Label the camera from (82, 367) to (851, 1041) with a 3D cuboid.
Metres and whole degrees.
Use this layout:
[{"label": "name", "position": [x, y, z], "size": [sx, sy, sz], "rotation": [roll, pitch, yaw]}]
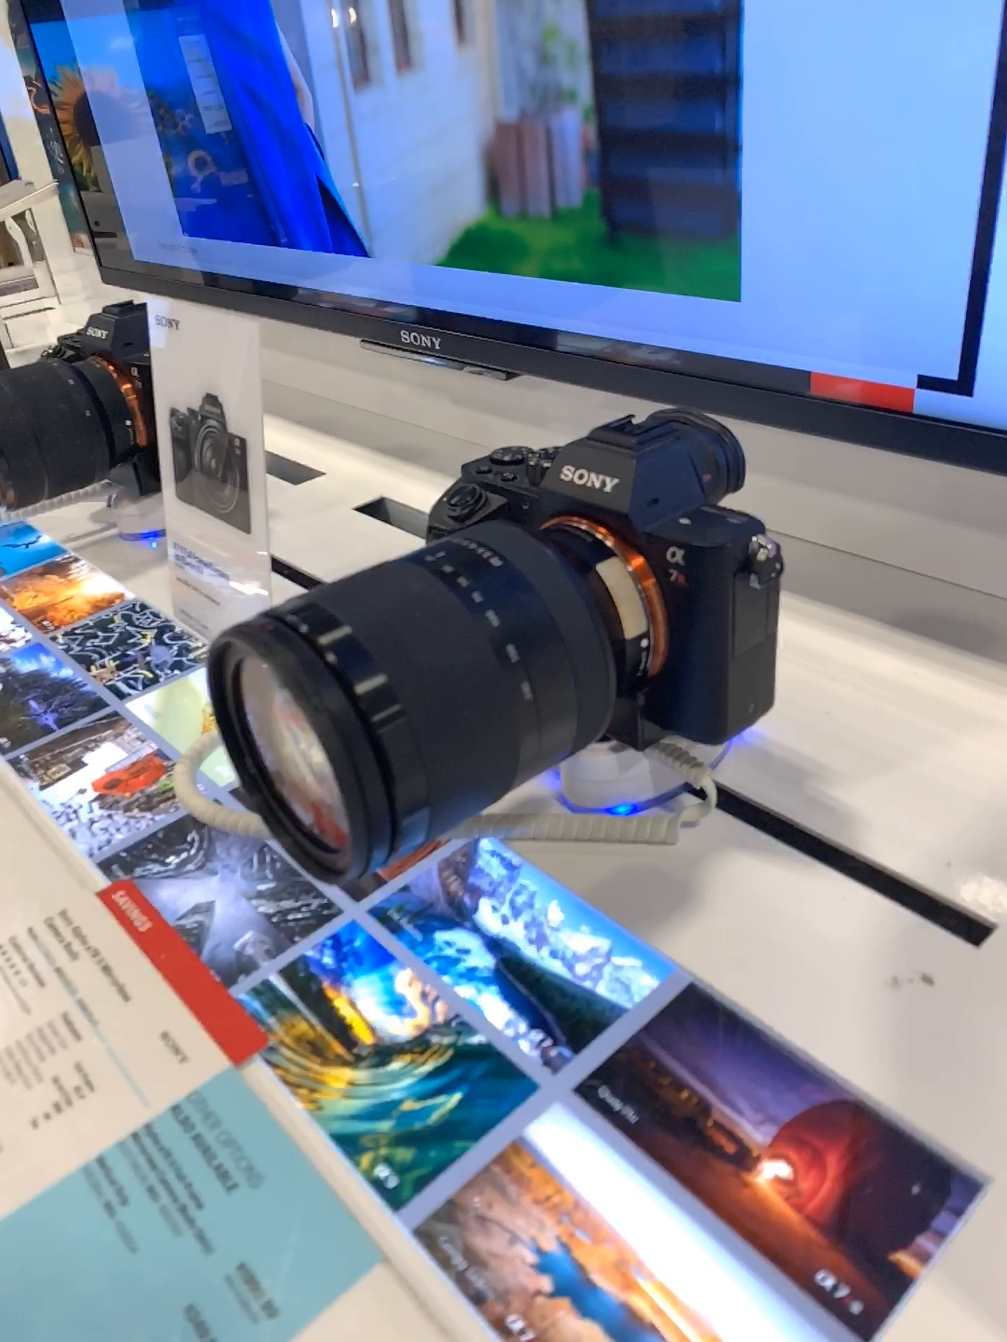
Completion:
[{"label": "camera", "position": [-0.004, -0.011, 0.311], "size": [0.172, 0.099, 0.131], "rotation": [-30, 38, -32]}]
